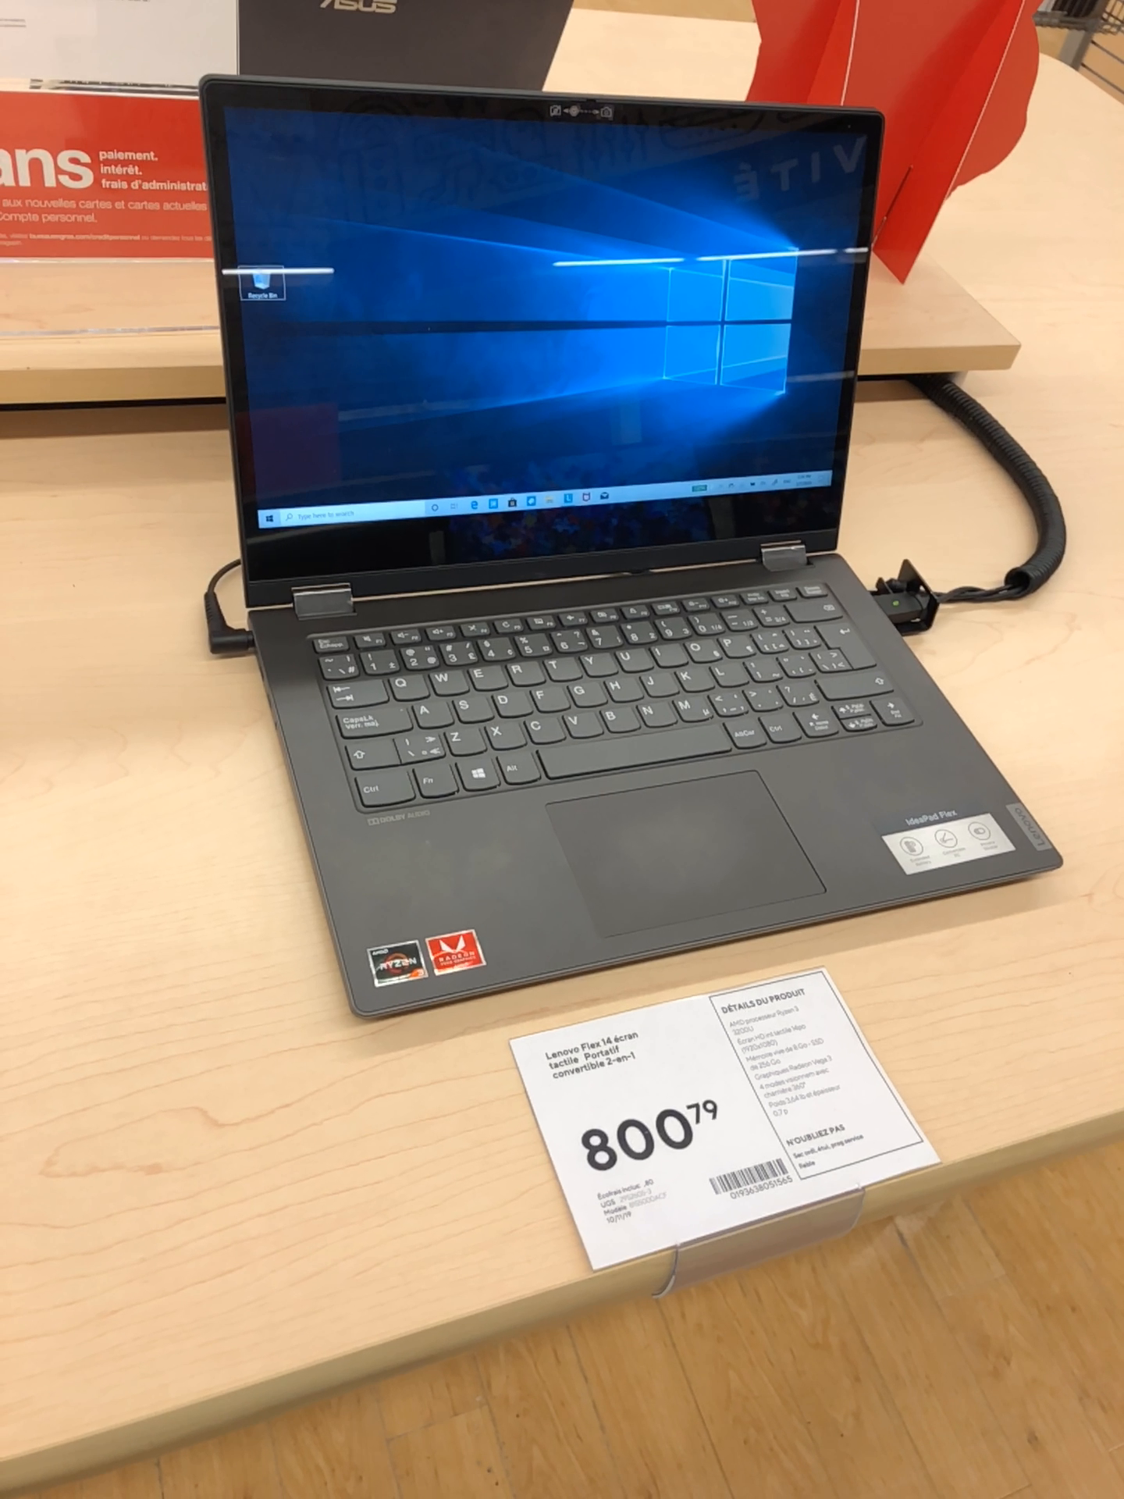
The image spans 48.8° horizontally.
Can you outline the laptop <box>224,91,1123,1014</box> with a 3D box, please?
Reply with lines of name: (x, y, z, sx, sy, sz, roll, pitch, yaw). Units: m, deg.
laptop: (0.045, -0.105, 0.525, 0.319, 0.199, 0.307, -8, 50, -21)
